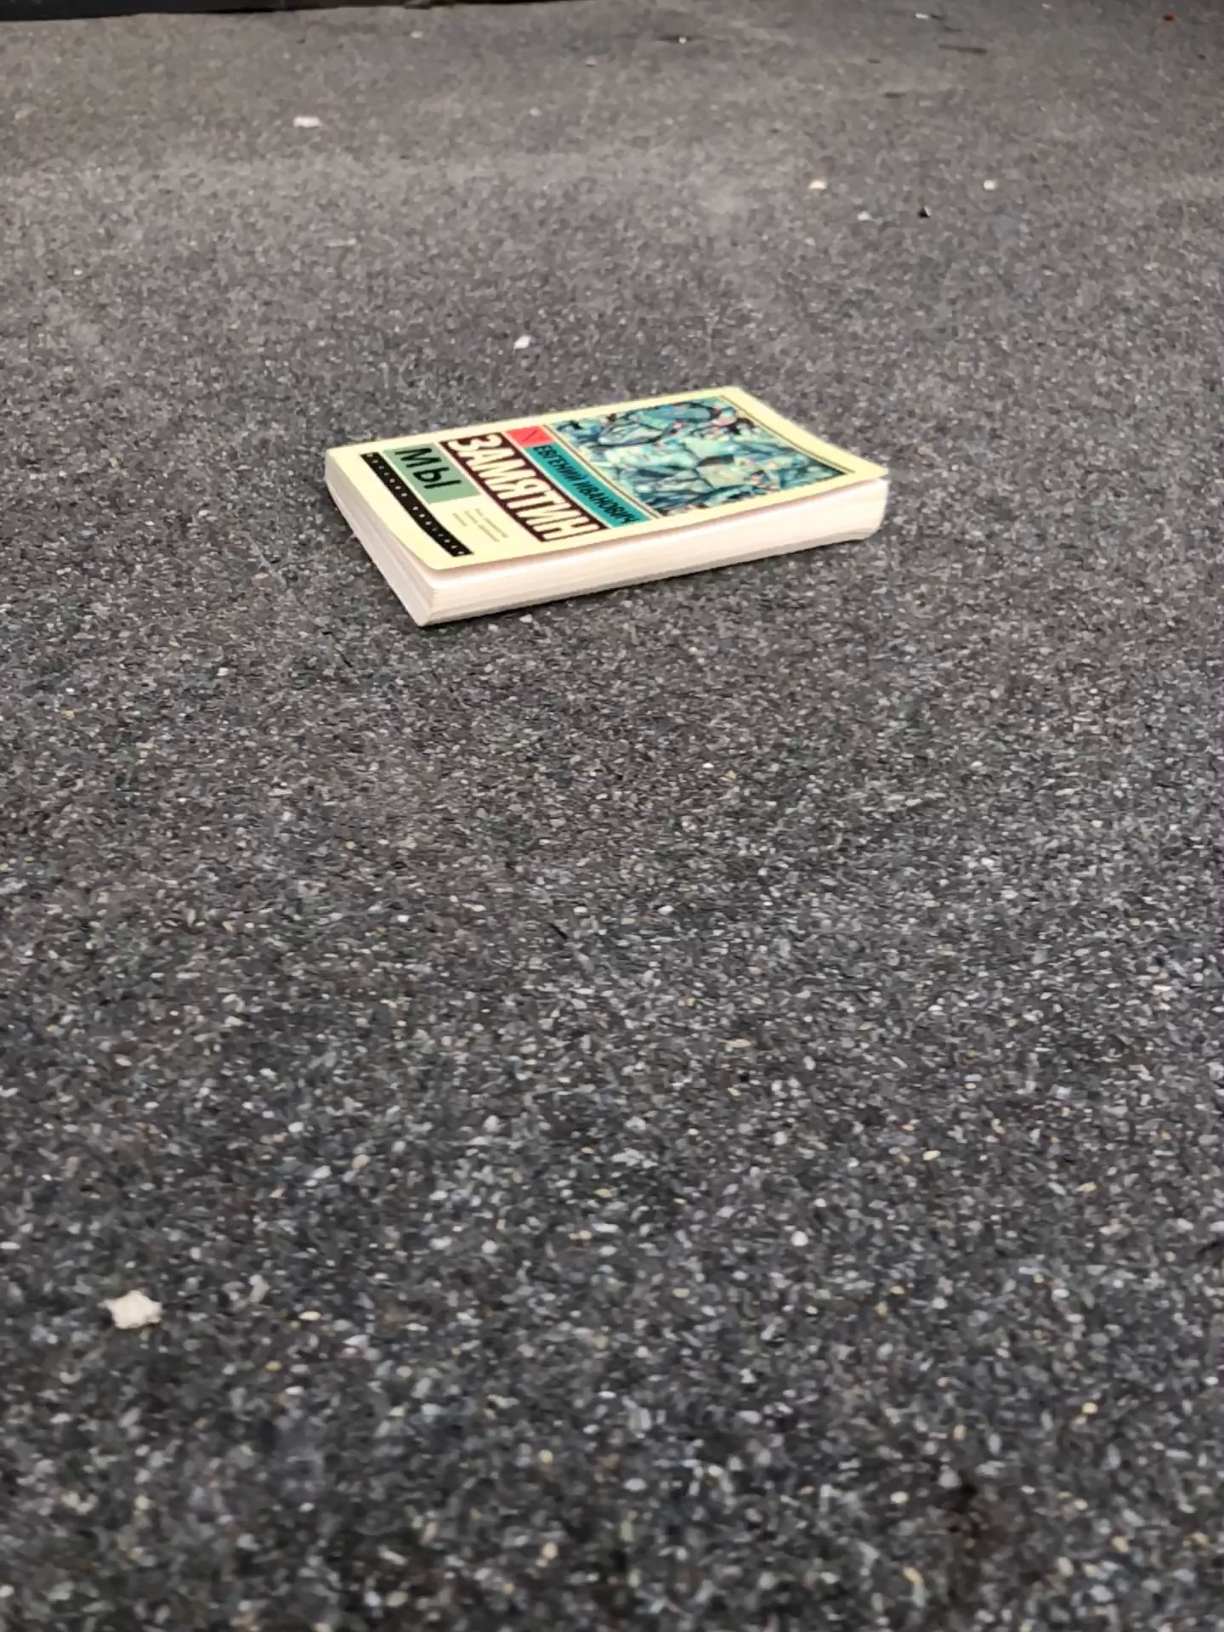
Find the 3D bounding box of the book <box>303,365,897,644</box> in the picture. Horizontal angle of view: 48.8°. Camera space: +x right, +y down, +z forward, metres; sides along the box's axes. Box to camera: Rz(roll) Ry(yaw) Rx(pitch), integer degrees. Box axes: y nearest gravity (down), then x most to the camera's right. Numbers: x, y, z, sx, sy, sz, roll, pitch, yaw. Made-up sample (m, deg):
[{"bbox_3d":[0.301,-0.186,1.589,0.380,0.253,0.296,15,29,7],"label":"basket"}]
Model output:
[{"bbox_3d":[-0.007,-0.122,0.499,0.182,0.027,0.121,-16,41,-22],"label":"book"}]
